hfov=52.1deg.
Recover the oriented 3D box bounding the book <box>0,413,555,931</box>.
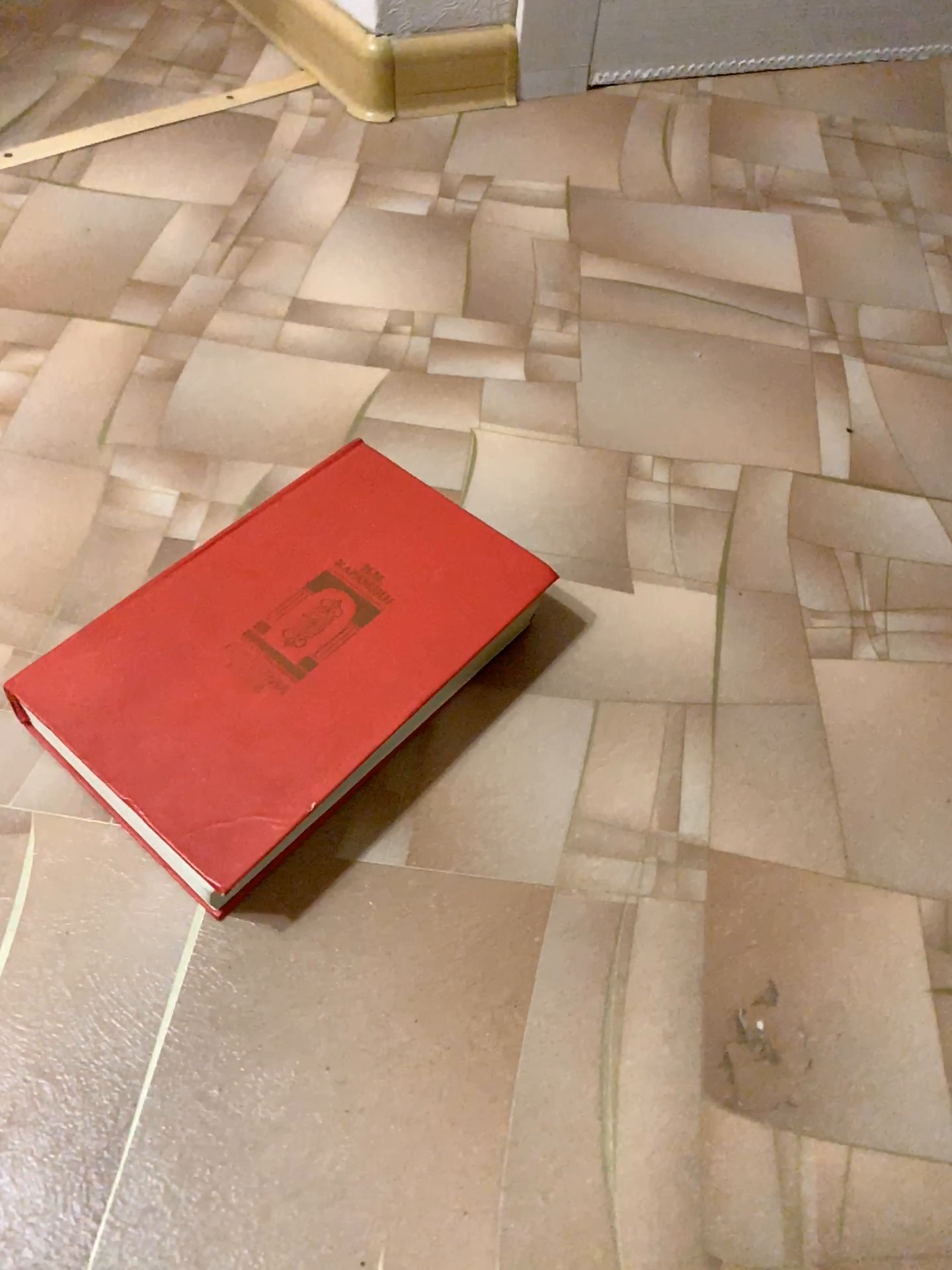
[{"bbox_3d":[-0.085,0.001,0.425,0.140,0.050,0.201,35,59,24],"label":"book"}]
